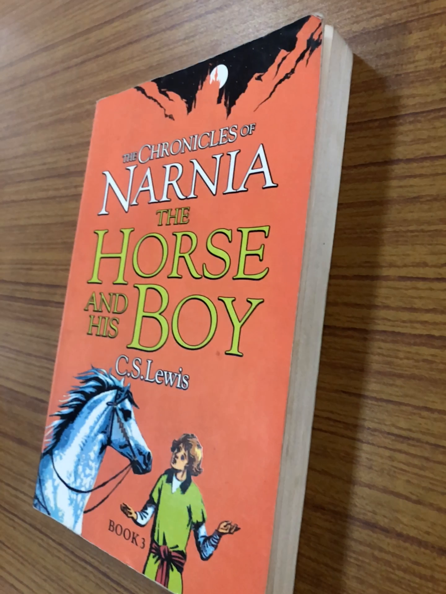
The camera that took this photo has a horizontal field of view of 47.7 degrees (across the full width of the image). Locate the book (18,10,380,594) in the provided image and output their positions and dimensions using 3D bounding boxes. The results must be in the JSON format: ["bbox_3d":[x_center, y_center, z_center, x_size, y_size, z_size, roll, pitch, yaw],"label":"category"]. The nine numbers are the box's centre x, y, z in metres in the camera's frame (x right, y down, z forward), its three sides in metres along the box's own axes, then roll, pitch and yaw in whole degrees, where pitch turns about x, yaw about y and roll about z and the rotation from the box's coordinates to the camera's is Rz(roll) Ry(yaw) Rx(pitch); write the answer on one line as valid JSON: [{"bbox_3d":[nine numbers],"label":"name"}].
[{"bbox_3d":[-0.017,0.009,0.195,0.131,0.030,0.190,3,84,40],"label":"book"}]
